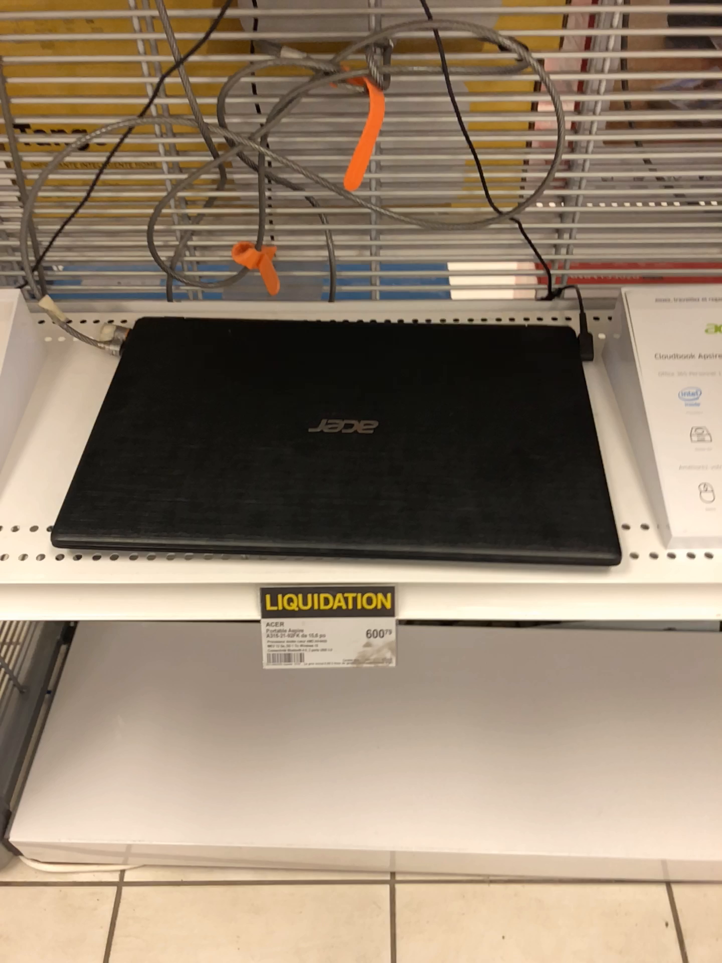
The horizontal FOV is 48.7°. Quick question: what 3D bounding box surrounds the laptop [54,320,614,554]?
[{"bbox_3d":[-0.012,-0.048,0.617,0.374,0.003,0.248,2,46,2],"label":"laptop"}]
